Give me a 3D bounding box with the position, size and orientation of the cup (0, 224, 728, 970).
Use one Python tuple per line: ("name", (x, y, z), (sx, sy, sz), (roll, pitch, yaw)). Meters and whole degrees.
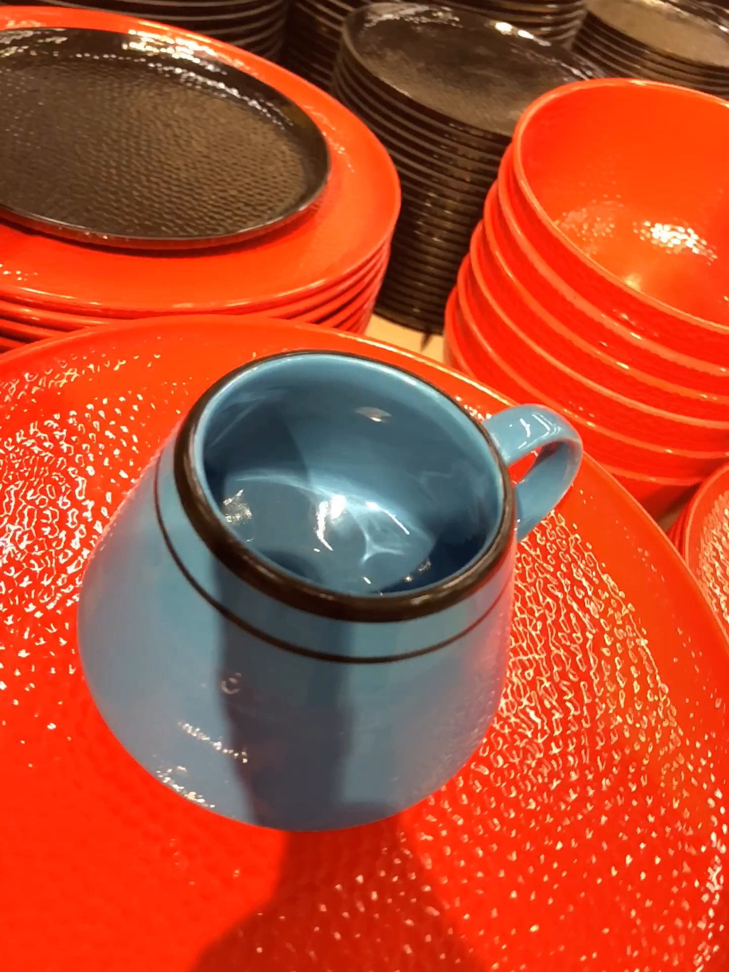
("cup", (-0.005, 0.013, 0.205), (0.141, 0.089, 0.110), (-22, 58, -33))
